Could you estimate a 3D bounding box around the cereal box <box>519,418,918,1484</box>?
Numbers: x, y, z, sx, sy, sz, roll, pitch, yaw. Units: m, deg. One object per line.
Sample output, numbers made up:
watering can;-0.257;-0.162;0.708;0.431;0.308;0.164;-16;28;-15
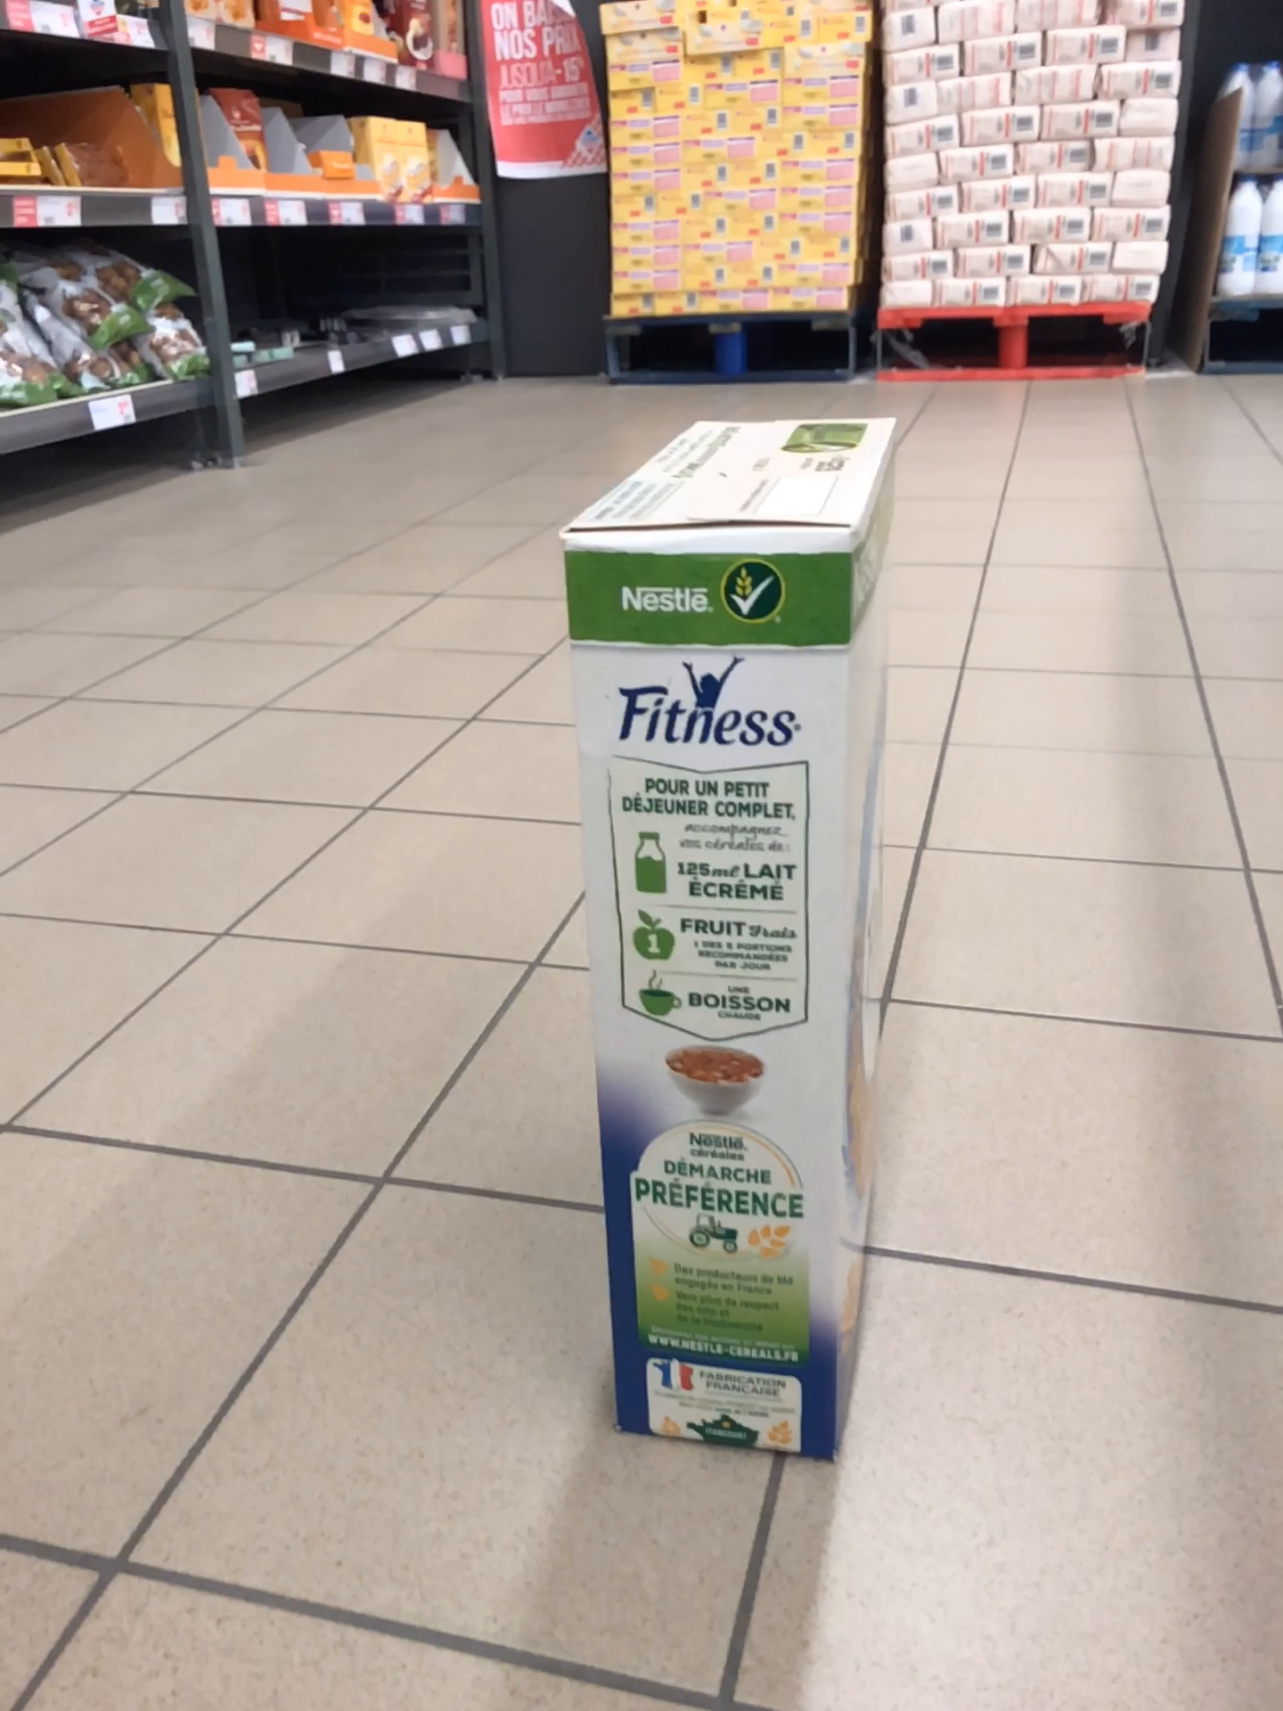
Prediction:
cereal box;0.041;0.016;0.489;0.090;0.298;0.211;3;24;12
